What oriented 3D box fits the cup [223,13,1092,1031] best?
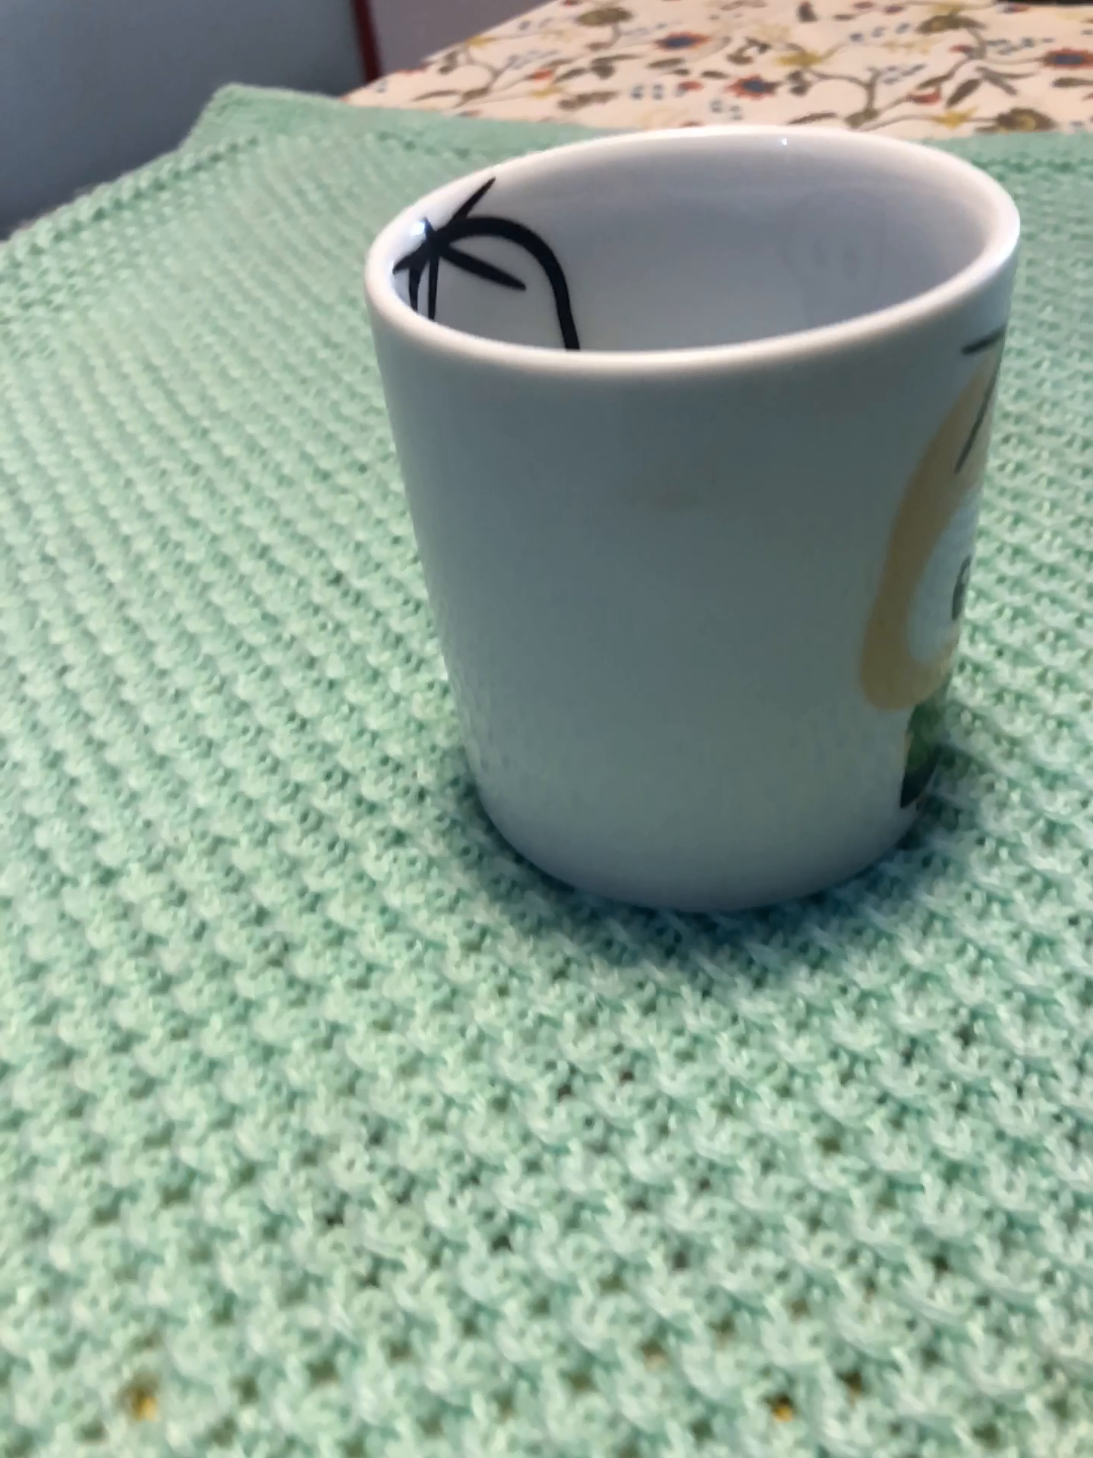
[{"bbox_3d":[0.036,-0.045,0.204,0.090,0.099,0.131,15,47,24],"label":"cup"}]
